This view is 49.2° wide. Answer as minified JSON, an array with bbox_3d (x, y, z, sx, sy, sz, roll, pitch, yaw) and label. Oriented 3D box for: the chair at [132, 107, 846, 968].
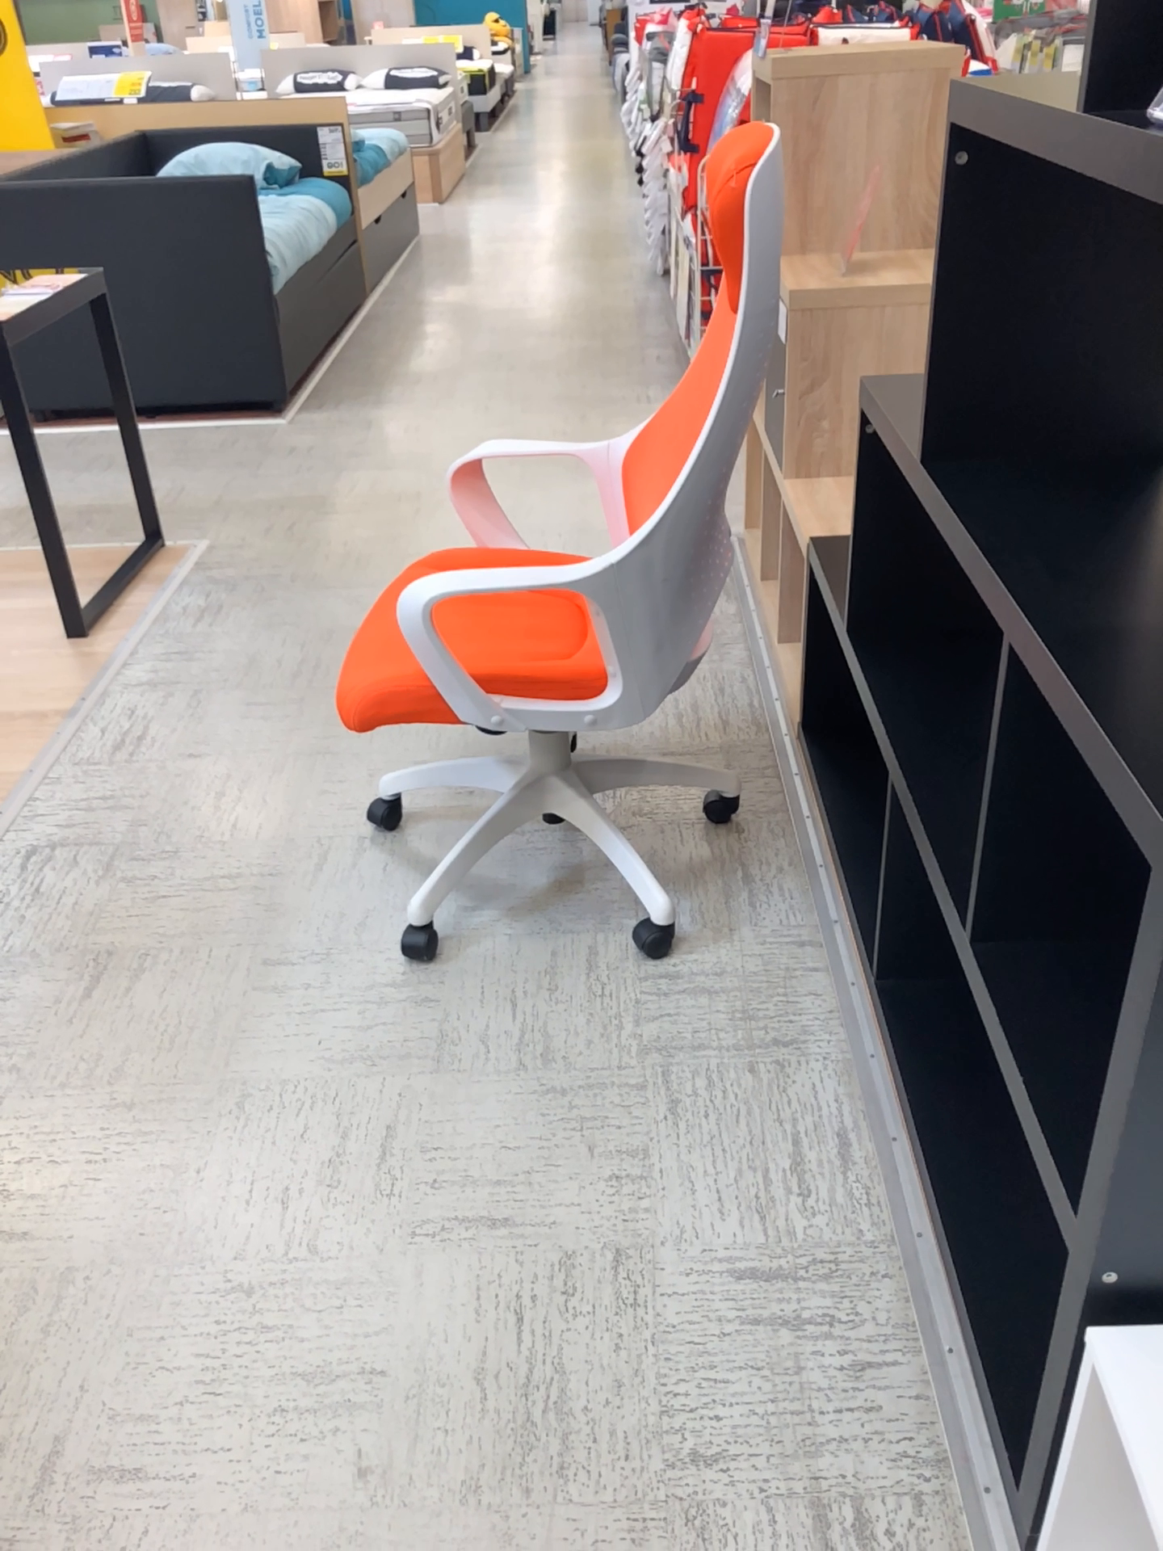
[{"bbox_3d":[-0.051,-0.354,1.878,0.750,1.054,0.684,0,31,5],"label":"chair"}]
